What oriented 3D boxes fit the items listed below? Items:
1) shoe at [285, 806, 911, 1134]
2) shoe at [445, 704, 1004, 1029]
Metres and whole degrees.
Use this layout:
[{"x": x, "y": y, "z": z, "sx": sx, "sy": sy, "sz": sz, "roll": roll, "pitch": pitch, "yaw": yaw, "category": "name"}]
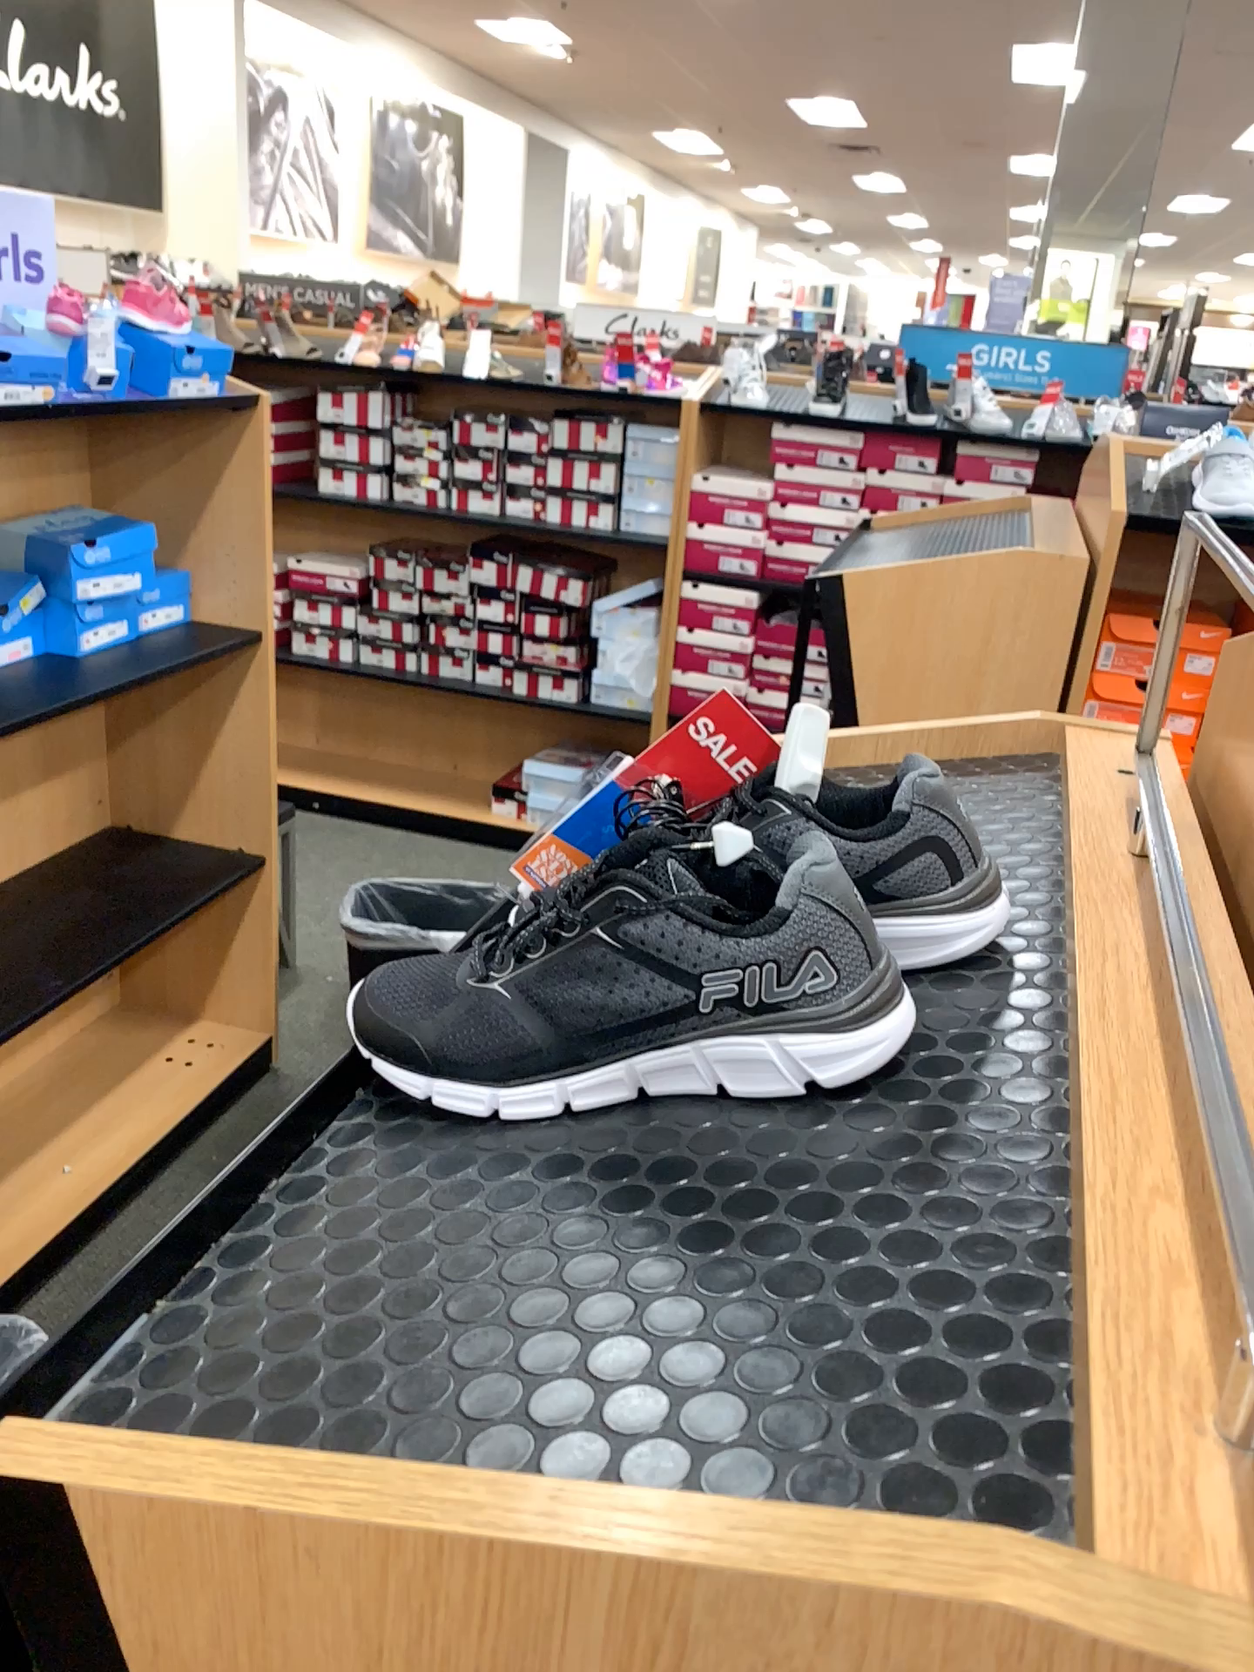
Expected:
[{"x": -0.007, "y": 0.057, "z": 0.561, "sx": 0.244, "sy": 0.090, "sz": 0.100, "roll": -8, "pitch": 8, "yaw": 13, "category": "shoe"}, {"x": 0.049, "y": 0.014, "z": 0.639, "sx": 0.244, "sy": 0.090, "sz": 0.100, "roll": -11, "pitch": 19, "yaw": 12, "category": "shoe"}]
